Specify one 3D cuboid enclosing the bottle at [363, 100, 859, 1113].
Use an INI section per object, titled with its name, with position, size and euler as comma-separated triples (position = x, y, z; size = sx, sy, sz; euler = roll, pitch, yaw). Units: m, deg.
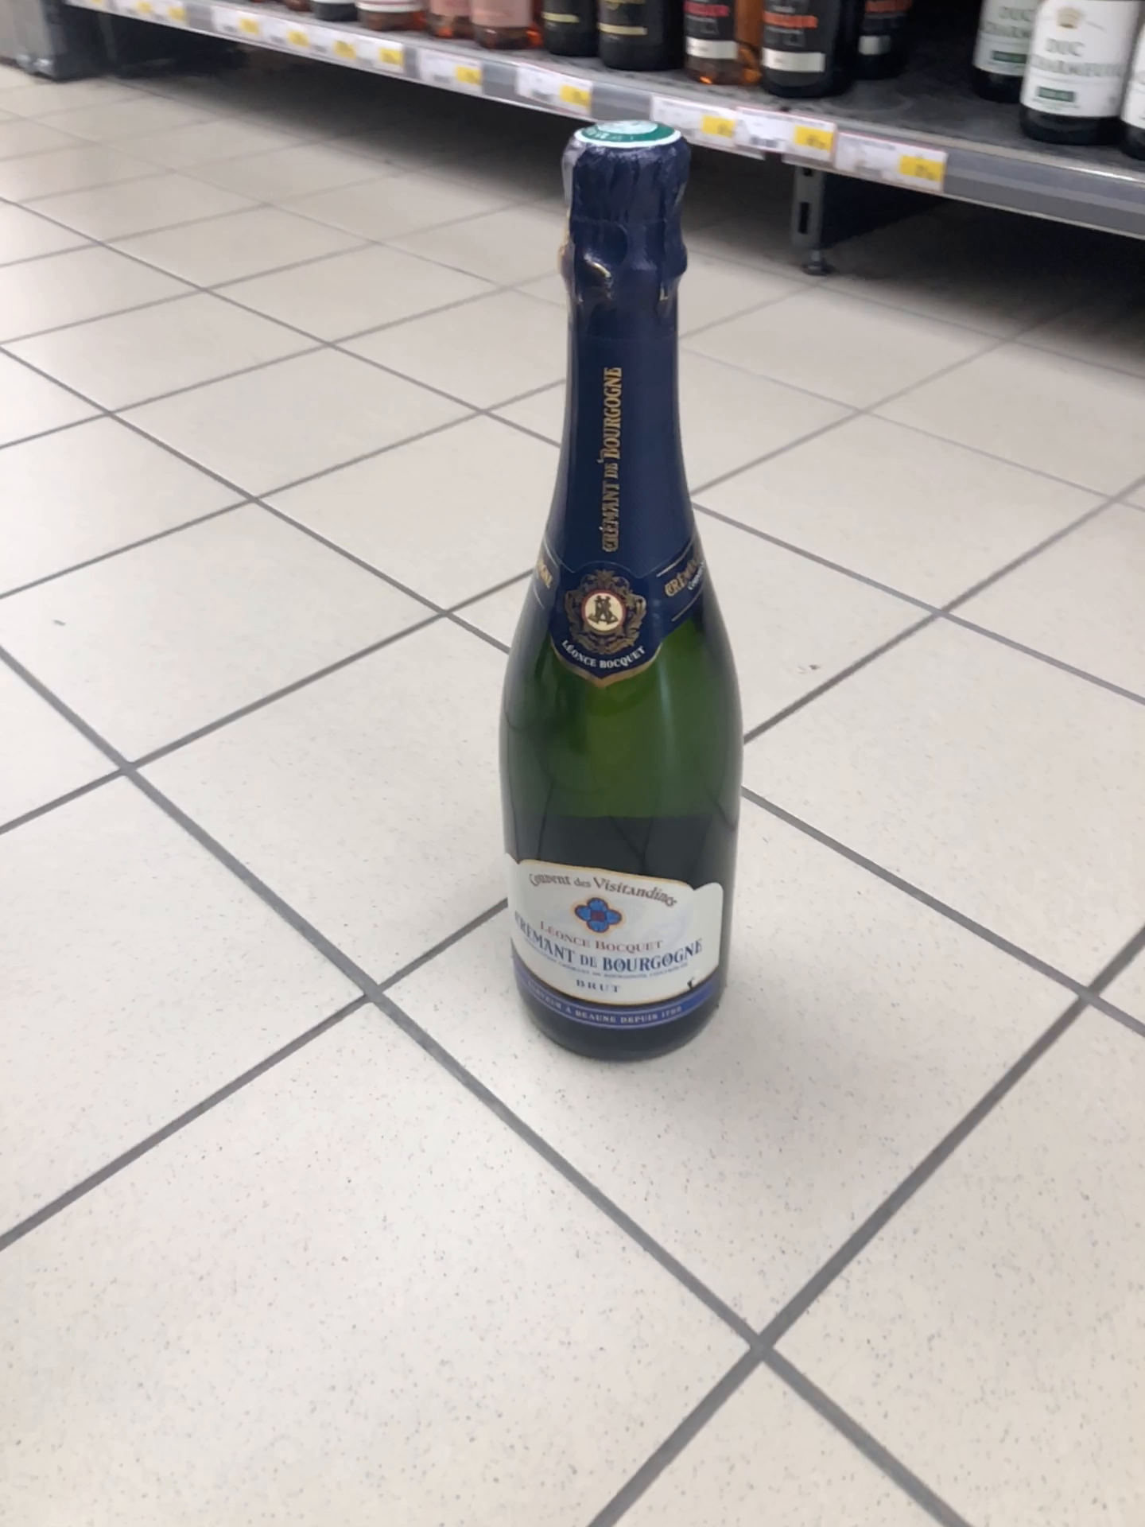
[bottle]
position = 0.017, -0.035, 0.413
size = 0.100, 0.308, 0.101
euler = -1, 37, 1
